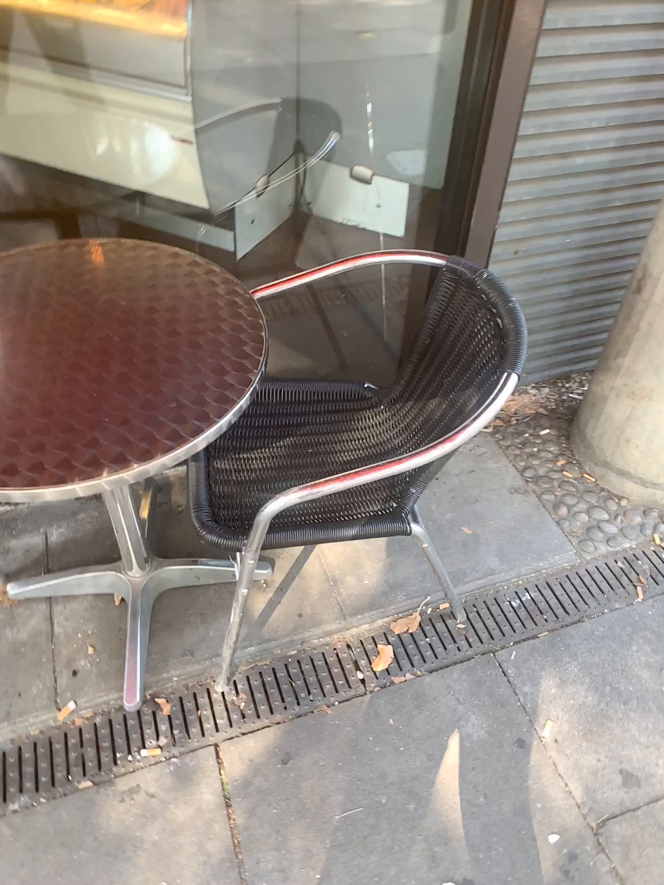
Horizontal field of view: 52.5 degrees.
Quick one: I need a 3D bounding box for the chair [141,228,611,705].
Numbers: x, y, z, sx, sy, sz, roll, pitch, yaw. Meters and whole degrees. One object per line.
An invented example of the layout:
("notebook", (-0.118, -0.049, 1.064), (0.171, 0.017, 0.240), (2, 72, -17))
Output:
("chair", (0.006, 0.025, 1.313), (0.640, 0.604, 0.606), (-7, 45, -10))
